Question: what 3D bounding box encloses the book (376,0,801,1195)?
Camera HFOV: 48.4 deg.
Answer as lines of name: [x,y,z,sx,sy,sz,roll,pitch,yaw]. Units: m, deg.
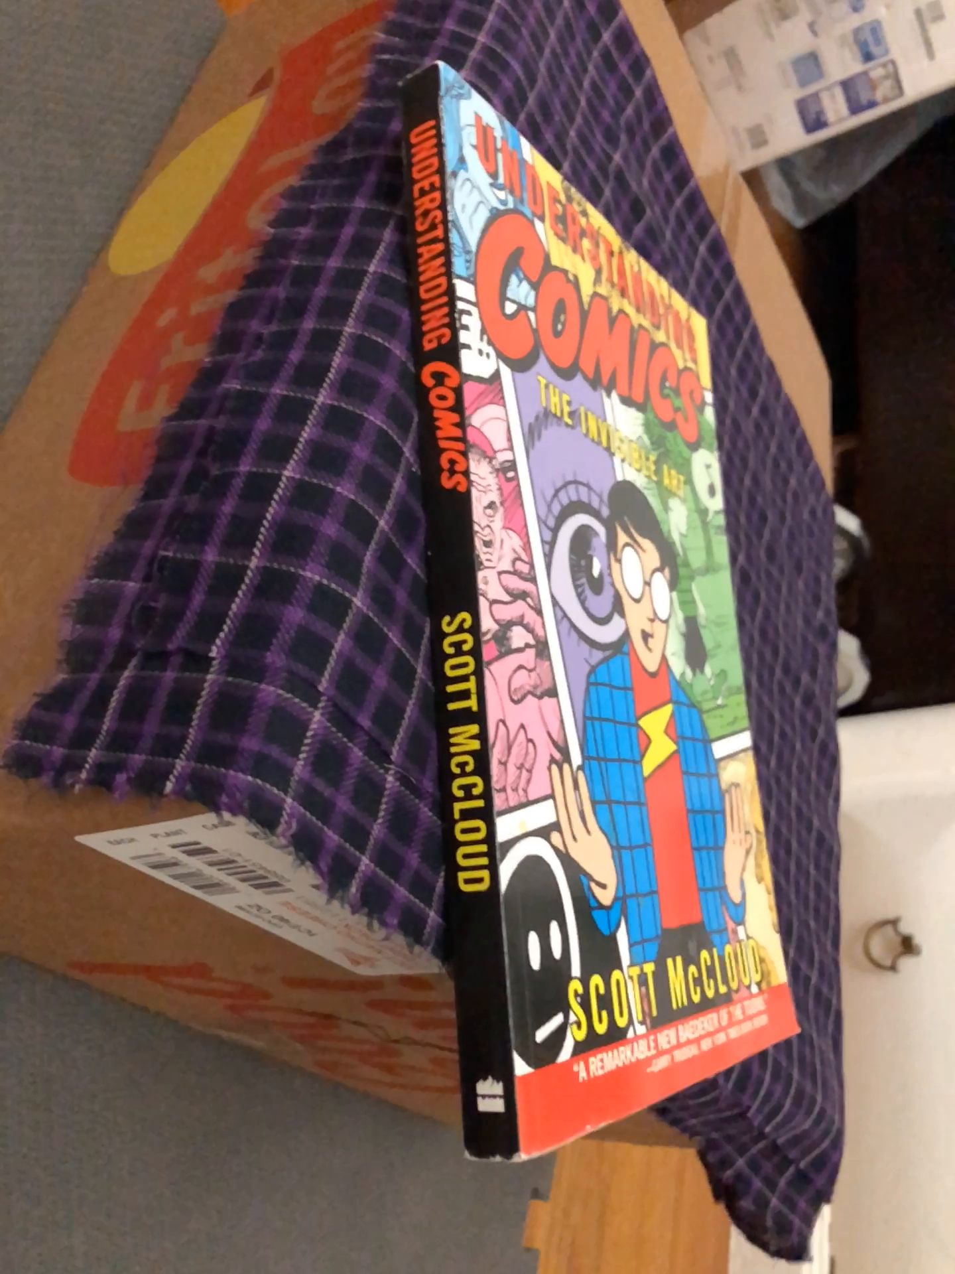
book: [0.038,-0.012,0.305,0.171,0.020,0.270,16,66,-55]
